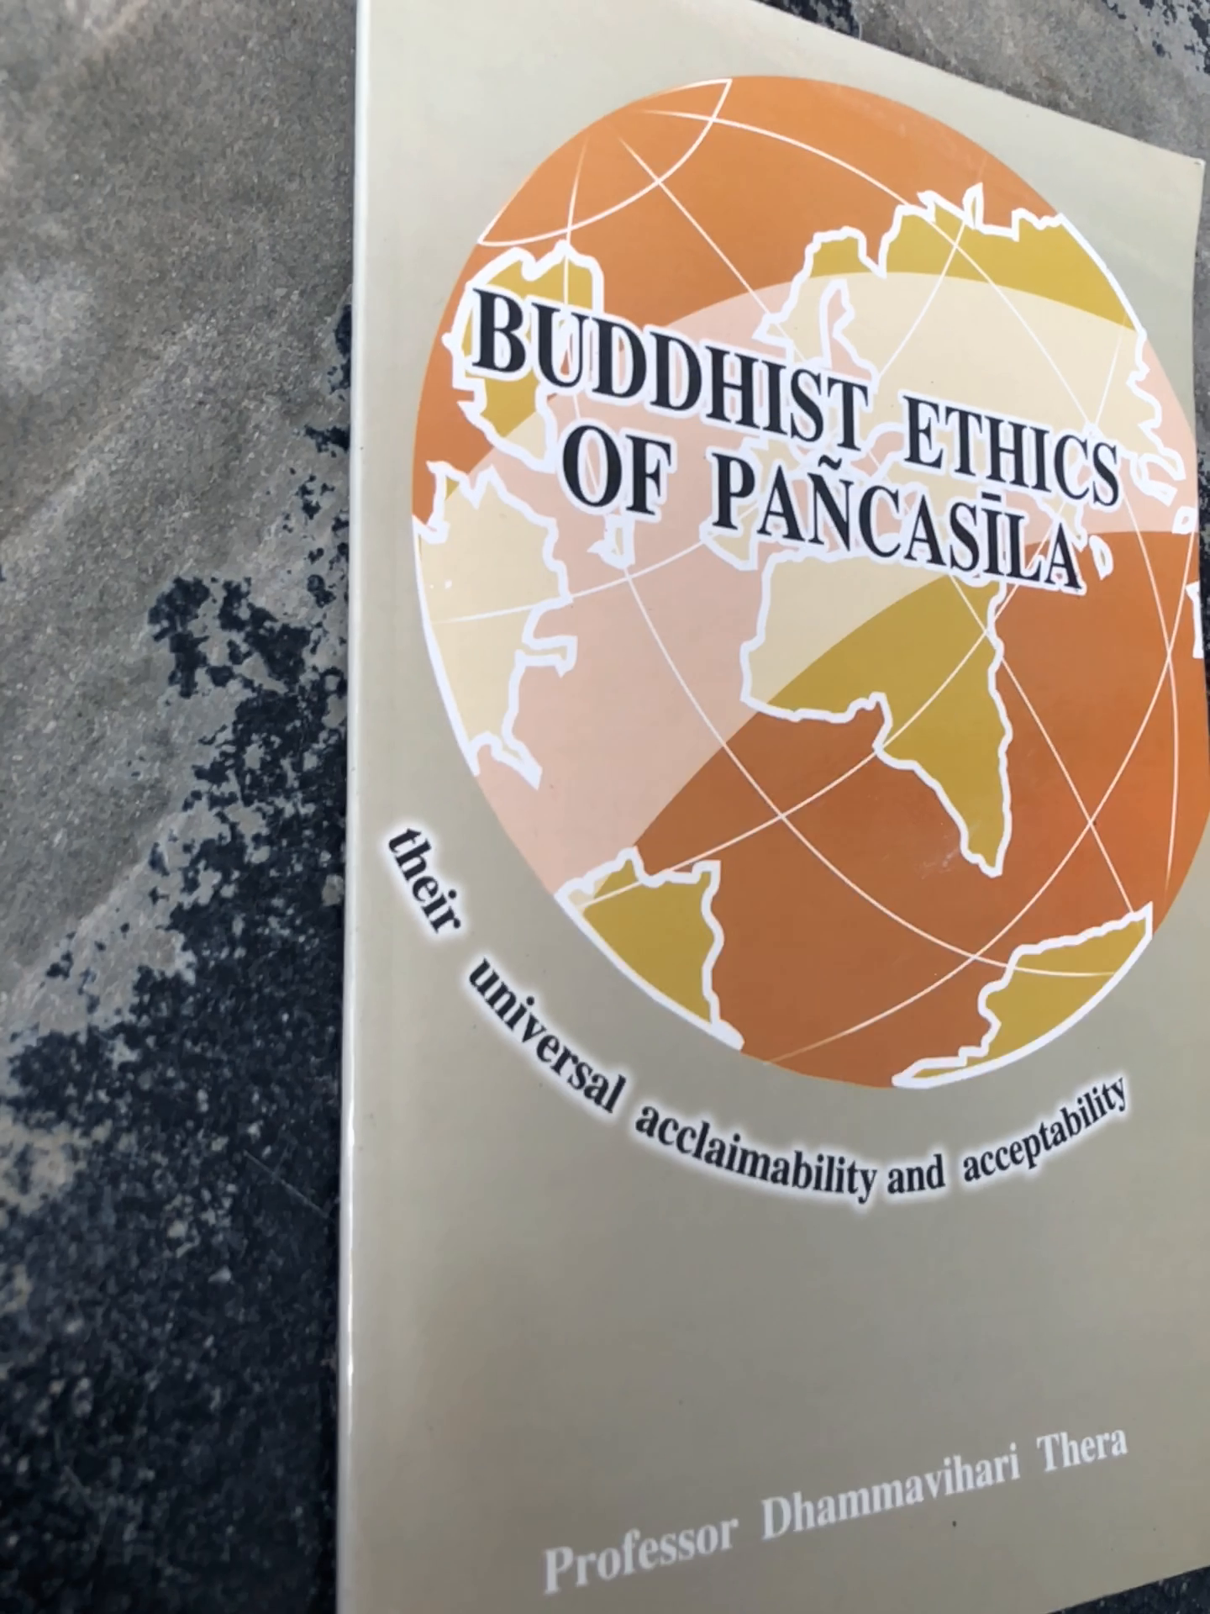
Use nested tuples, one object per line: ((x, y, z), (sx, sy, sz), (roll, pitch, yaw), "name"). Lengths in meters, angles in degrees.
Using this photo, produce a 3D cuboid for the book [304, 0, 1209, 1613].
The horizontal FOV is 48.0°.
((0.031, -0.006, 0.179), (0.141, 0.010, 0.220), (2, 82, -29), "book")
